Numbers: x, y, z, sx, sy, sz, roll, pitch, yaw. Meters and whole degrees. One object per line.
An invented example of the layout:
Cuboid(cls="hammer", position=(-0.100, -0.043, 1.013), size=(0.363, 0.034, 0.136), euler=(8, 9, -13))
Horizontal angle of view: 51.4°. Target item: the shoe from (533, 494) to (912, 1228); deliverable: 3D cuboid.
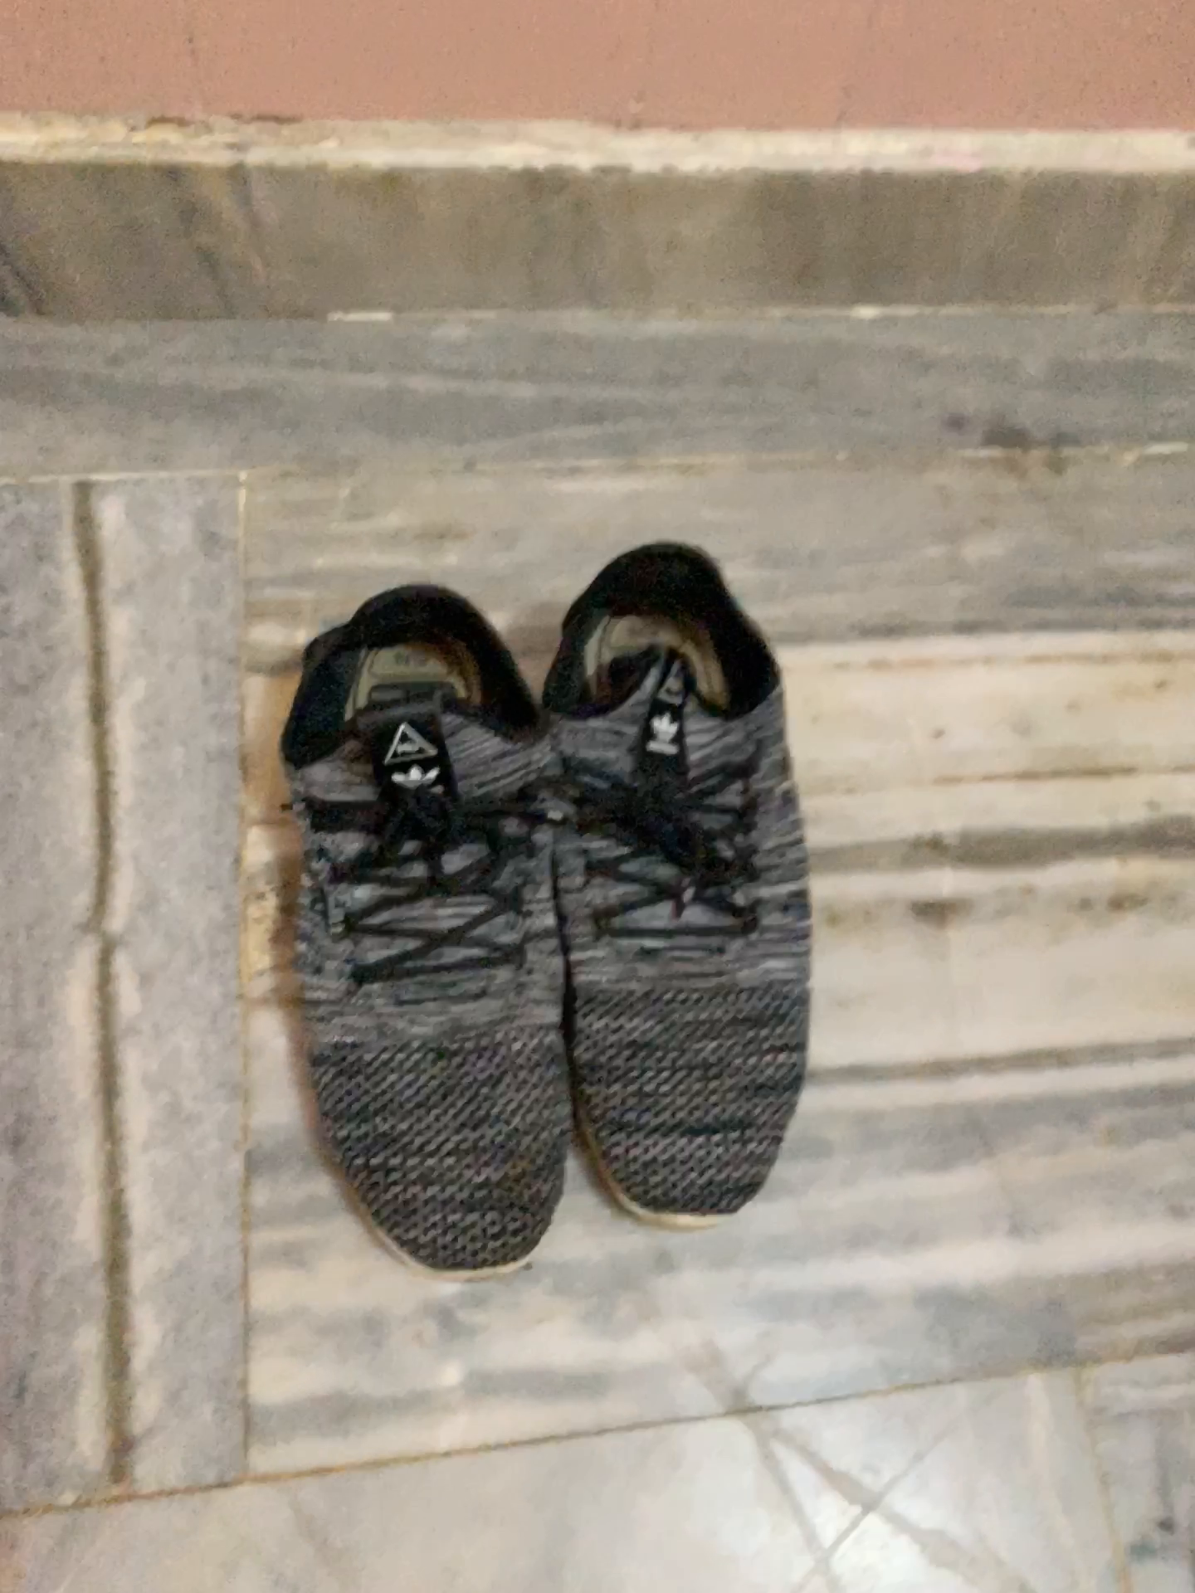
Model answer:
Cuboid(cls="shoe", position=(0.041, 0.021, 0.532), size=(0.120, 0.080, 0.300), euler=(-1, 68, -7))

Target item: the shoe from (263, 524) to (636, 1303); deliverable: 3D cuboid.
Cuboid(cls="shoe", position=(-0.068, 0.040, 0.511), size=(0.120, 0.080, 0.300), euler=(-4, 69, -9))
